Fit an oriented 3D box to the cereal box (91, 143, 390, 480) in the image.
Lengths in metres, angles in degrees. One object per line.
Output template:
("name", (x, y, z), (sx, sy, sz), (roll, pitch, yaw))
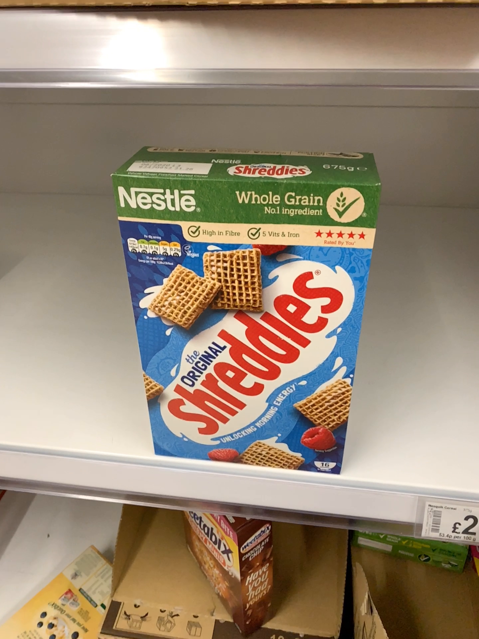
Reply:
("cereal box", (0.005, 0.004, 0.438), (0.200, 0.287, 0.081), (4, 34, 8))
